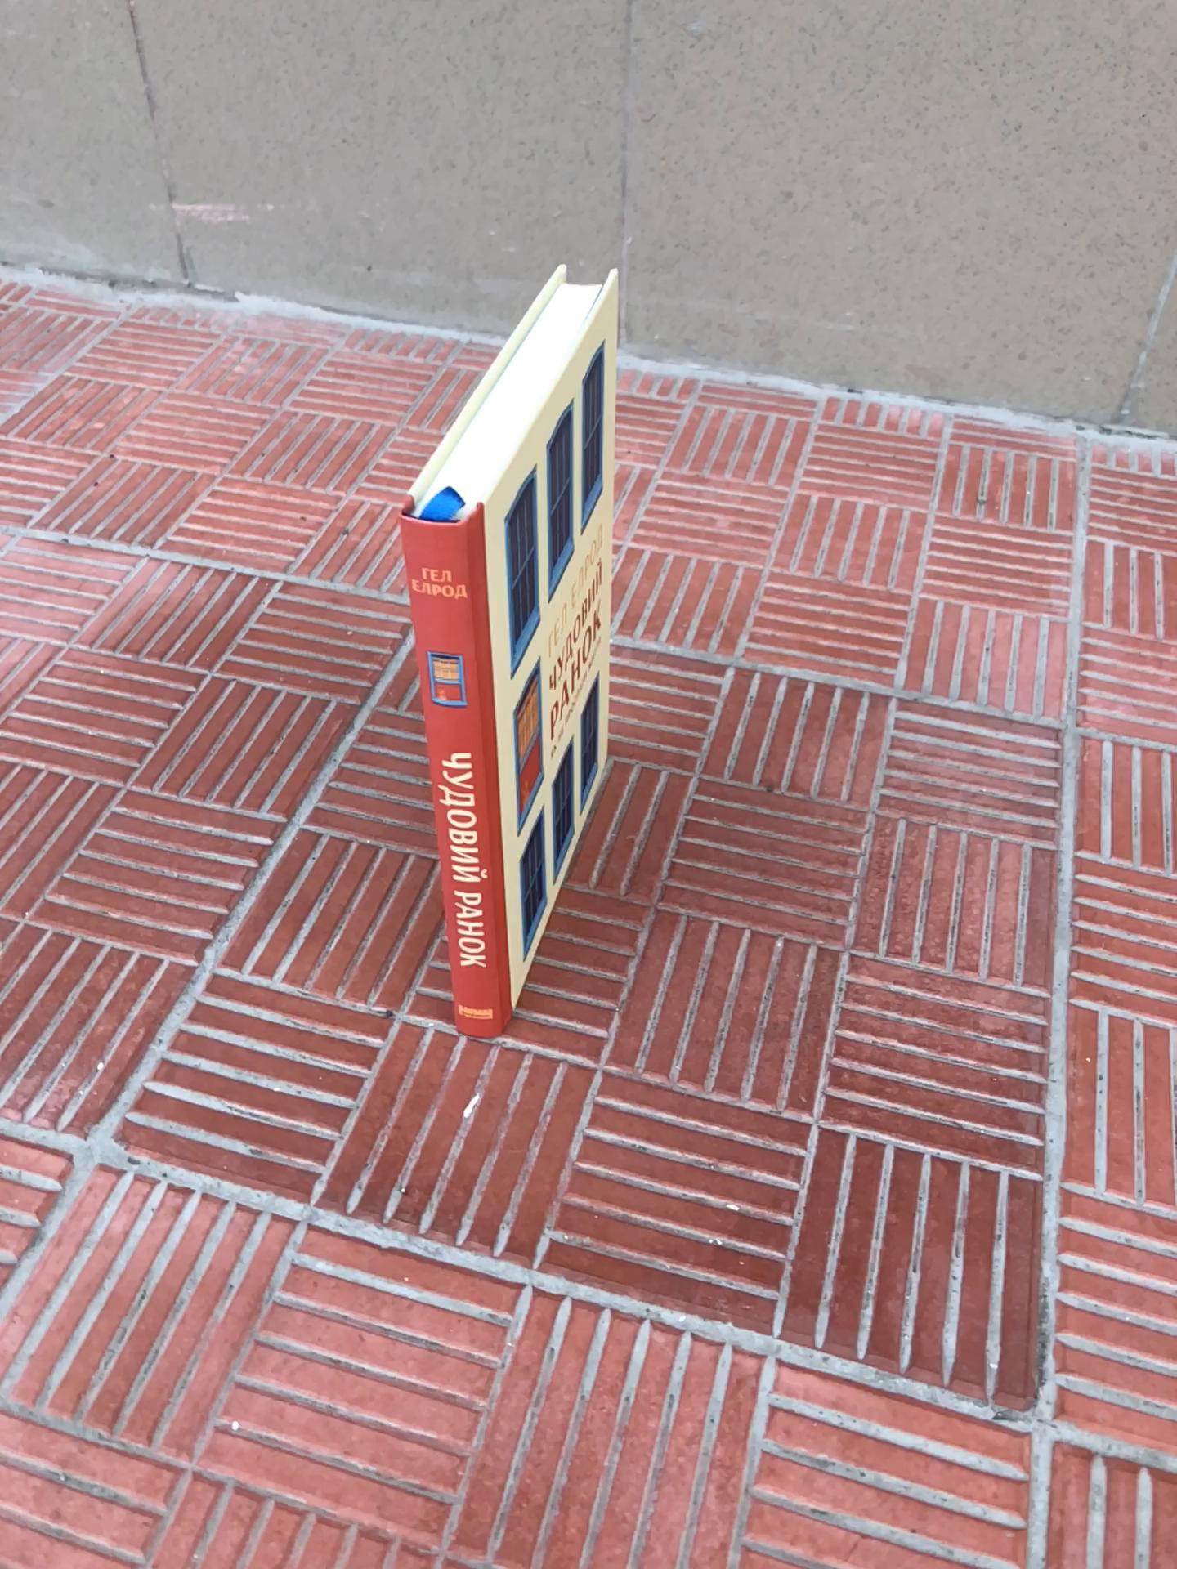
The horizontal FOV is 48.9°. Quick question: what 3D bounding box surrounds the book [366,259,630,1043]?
[{"bbox_3d":[-0.018,-0.037,0.406,0.025,0.196,0.145,11,46,11],"label":"book"}]
